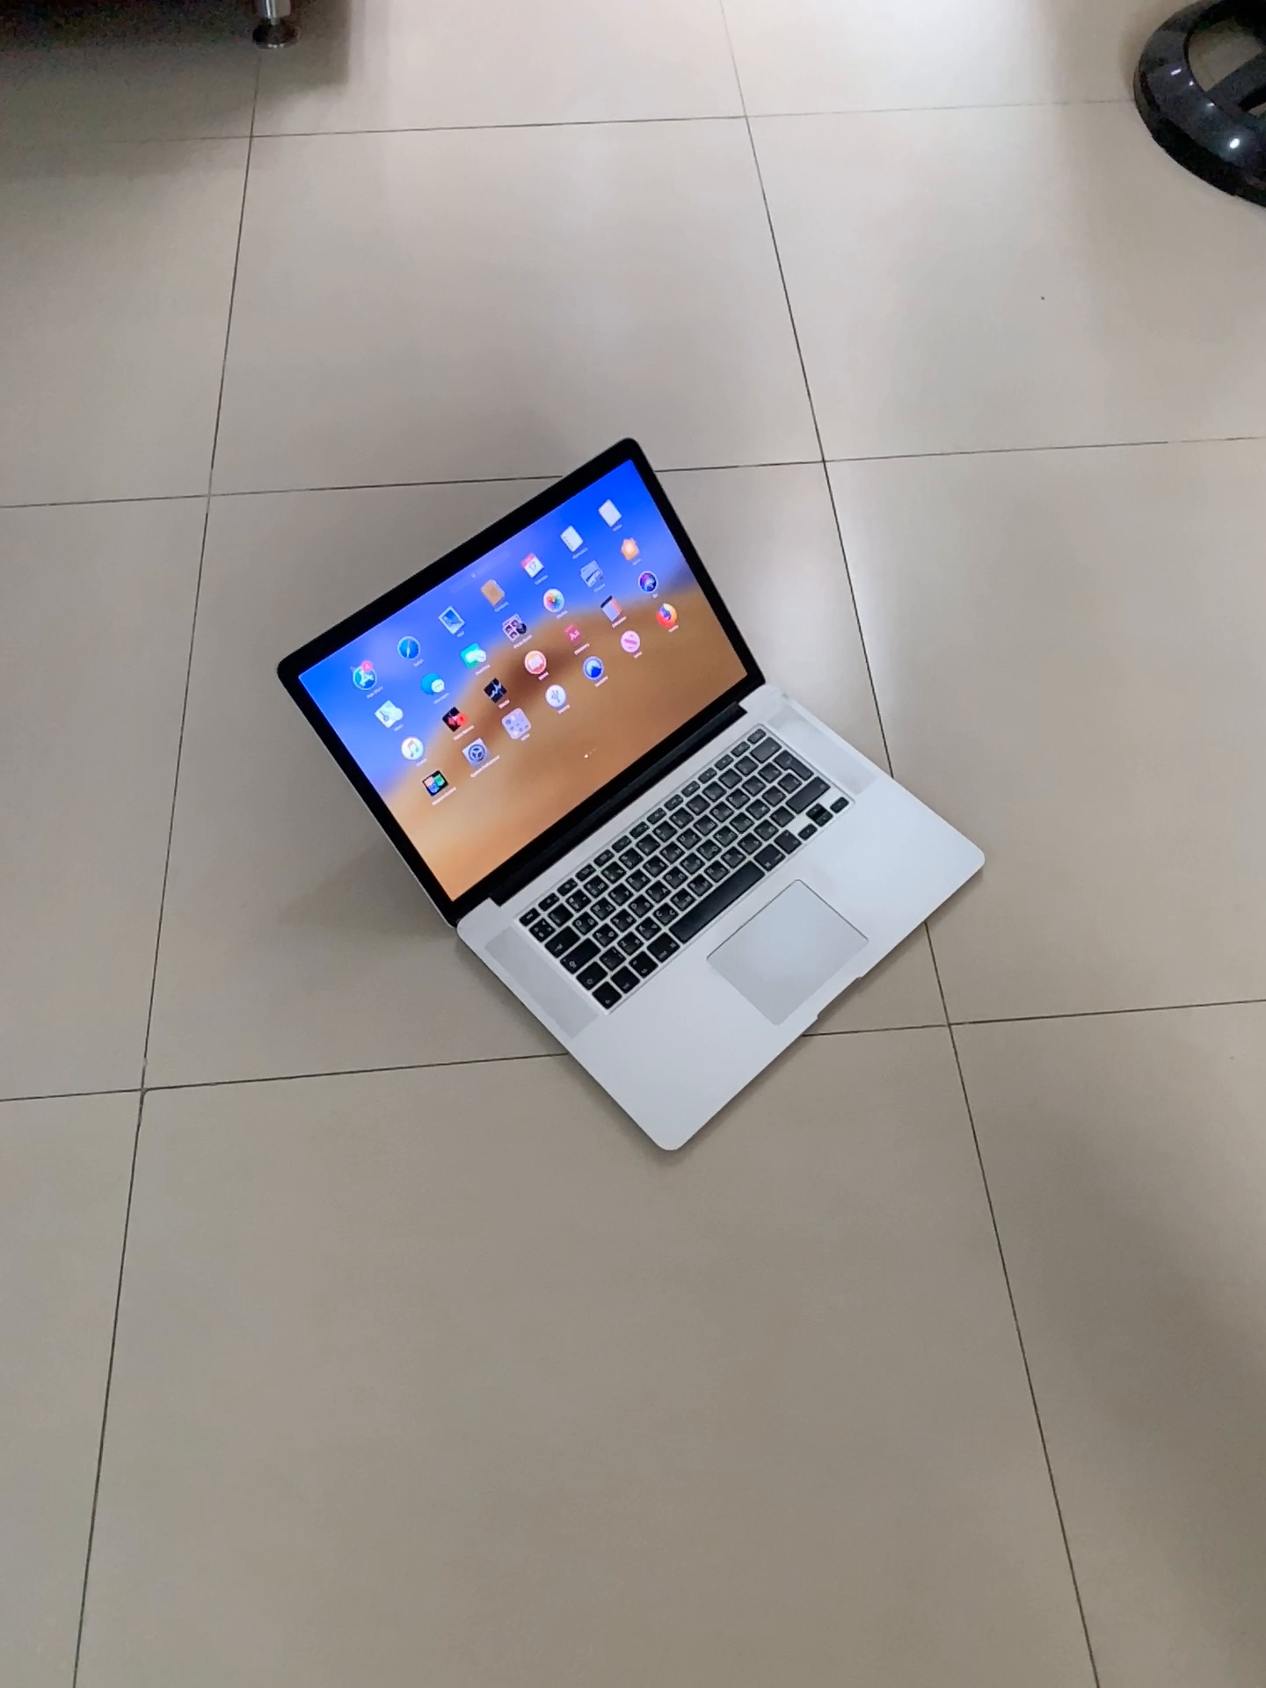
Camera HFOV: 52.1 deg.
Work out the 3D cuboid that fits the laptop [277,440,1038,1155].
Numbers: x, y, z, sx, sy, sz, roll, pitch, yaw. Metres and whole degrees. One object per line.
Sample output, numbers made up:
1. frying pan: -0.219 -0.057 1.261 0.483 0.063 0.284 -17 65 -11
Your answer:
1. laptop: 0.013 -0.056 0.984 0.353 0.163 0.415 -39 66 -22
